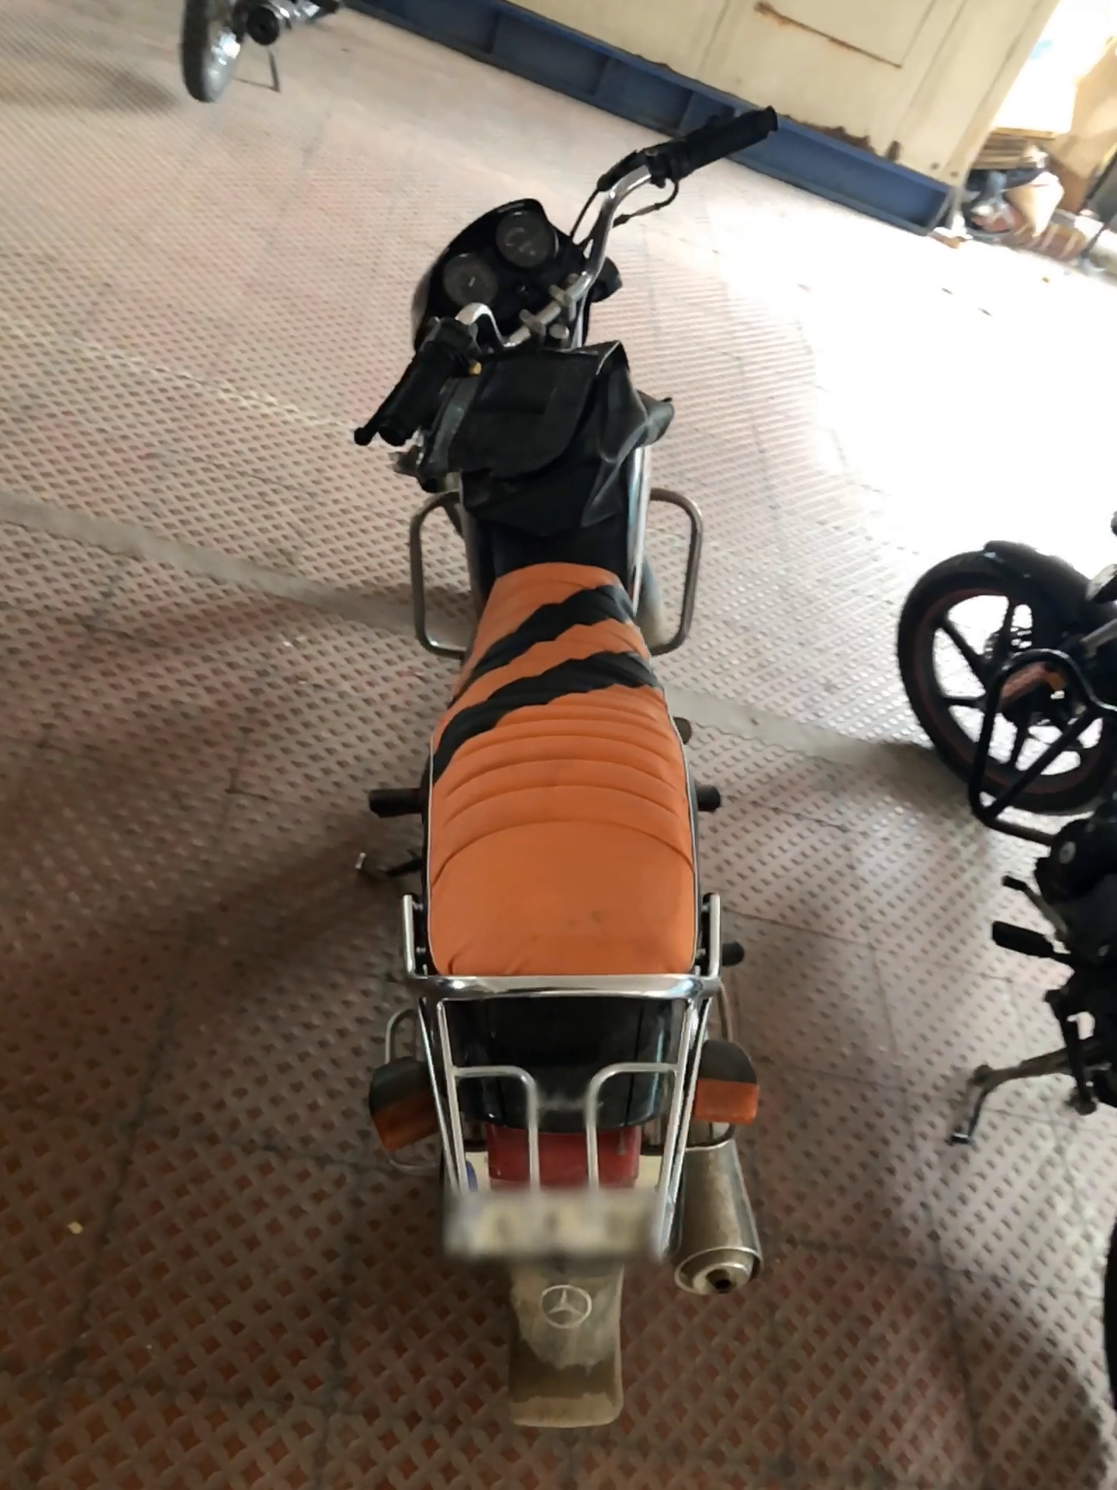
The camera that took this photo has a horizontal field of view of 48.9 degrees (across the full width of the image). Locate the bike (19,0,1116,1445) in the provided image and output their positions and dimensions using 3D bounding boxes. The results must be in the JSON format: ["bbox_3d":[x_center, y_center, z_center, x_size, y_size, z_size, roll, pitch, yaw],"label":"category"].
[{"bbox_3d":[-0.129,-0.100,1.527,0.688,1.123,1.410,11,42,-18],"label":"bike"}]
